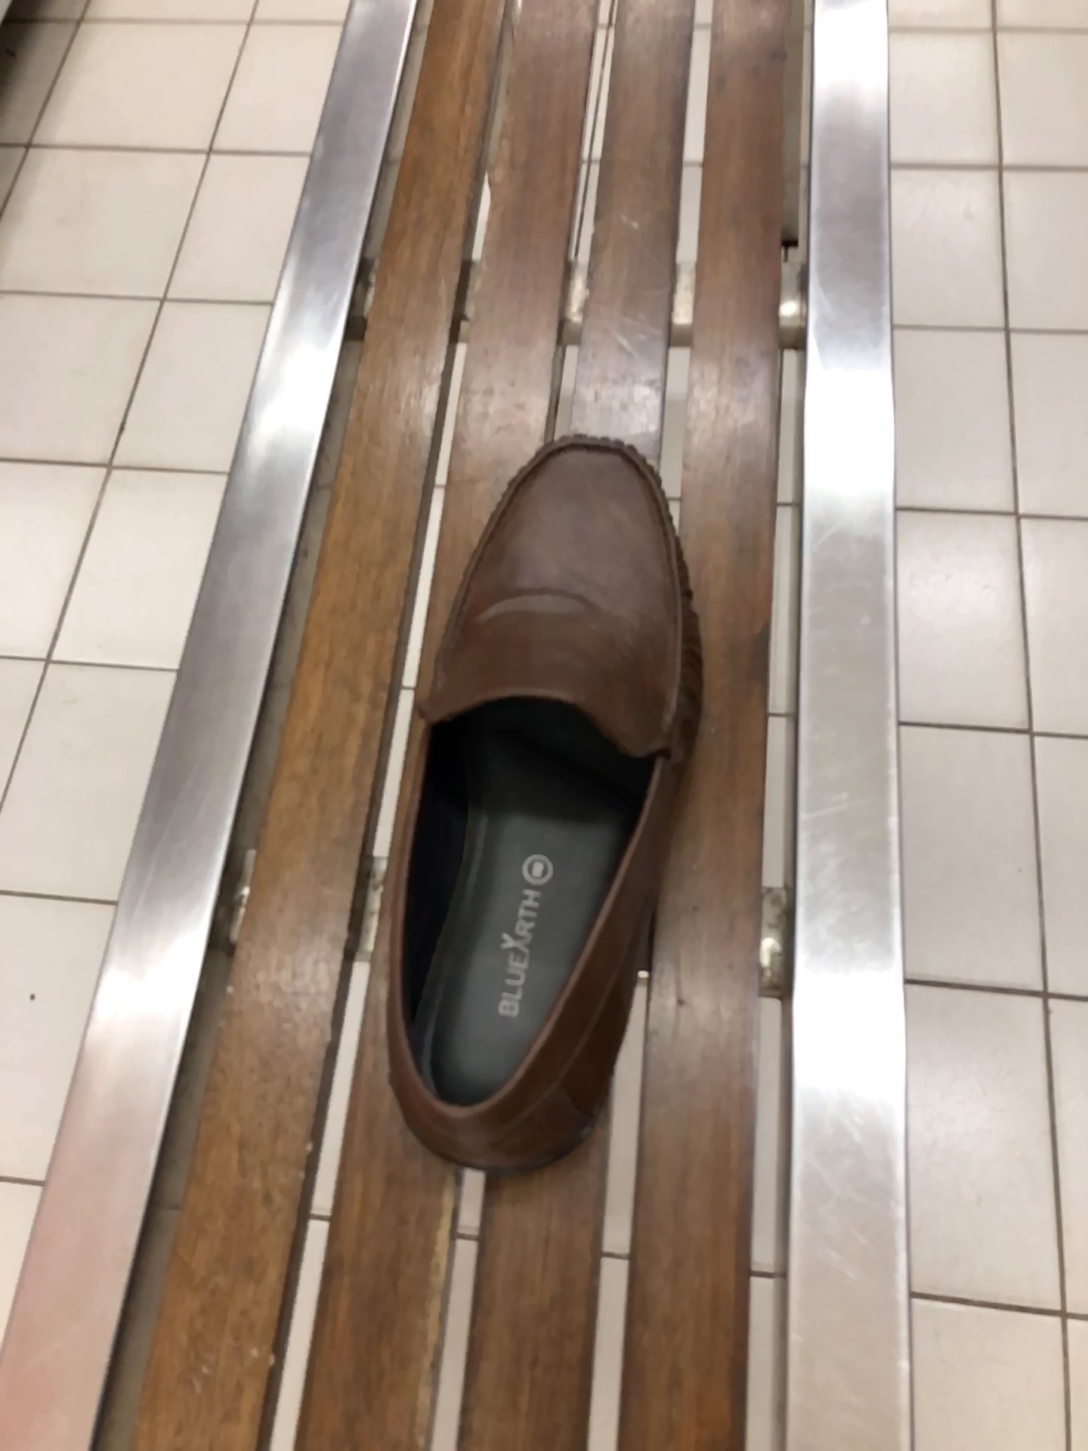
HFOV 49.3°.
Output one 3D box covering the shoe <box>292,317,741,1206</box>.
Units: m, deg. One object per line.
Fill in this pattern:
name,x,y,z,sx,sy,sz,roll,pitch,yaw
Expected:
shoe,0.005,0.004,0.431,0.104,0.093,0.302,5,66,7
